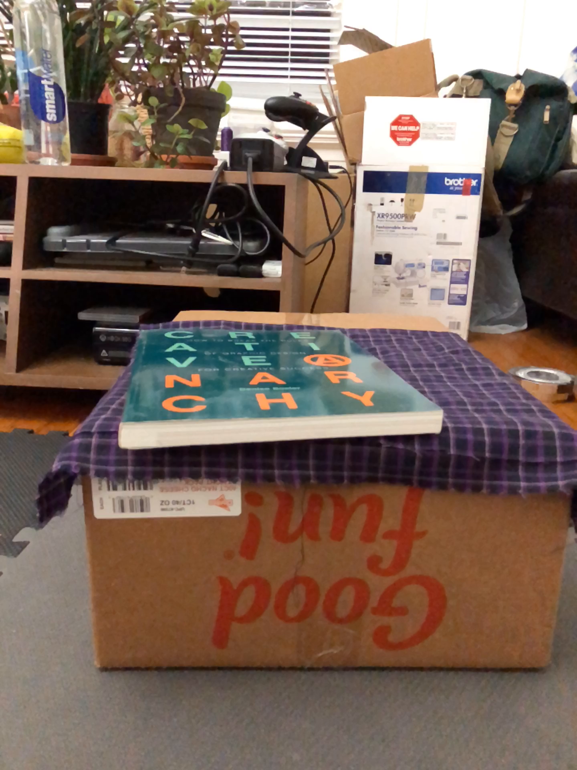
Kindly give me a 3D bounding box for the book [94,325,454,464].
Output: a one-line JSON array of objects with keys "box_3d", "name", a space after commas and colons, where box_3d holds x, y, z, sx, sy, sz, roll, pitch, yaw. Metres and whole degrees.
[{"box_3d": [-0.031, -0.010, 0.526, 0.220, 0.020, 0.301, -2, 17, -11], "name": "book"}]
